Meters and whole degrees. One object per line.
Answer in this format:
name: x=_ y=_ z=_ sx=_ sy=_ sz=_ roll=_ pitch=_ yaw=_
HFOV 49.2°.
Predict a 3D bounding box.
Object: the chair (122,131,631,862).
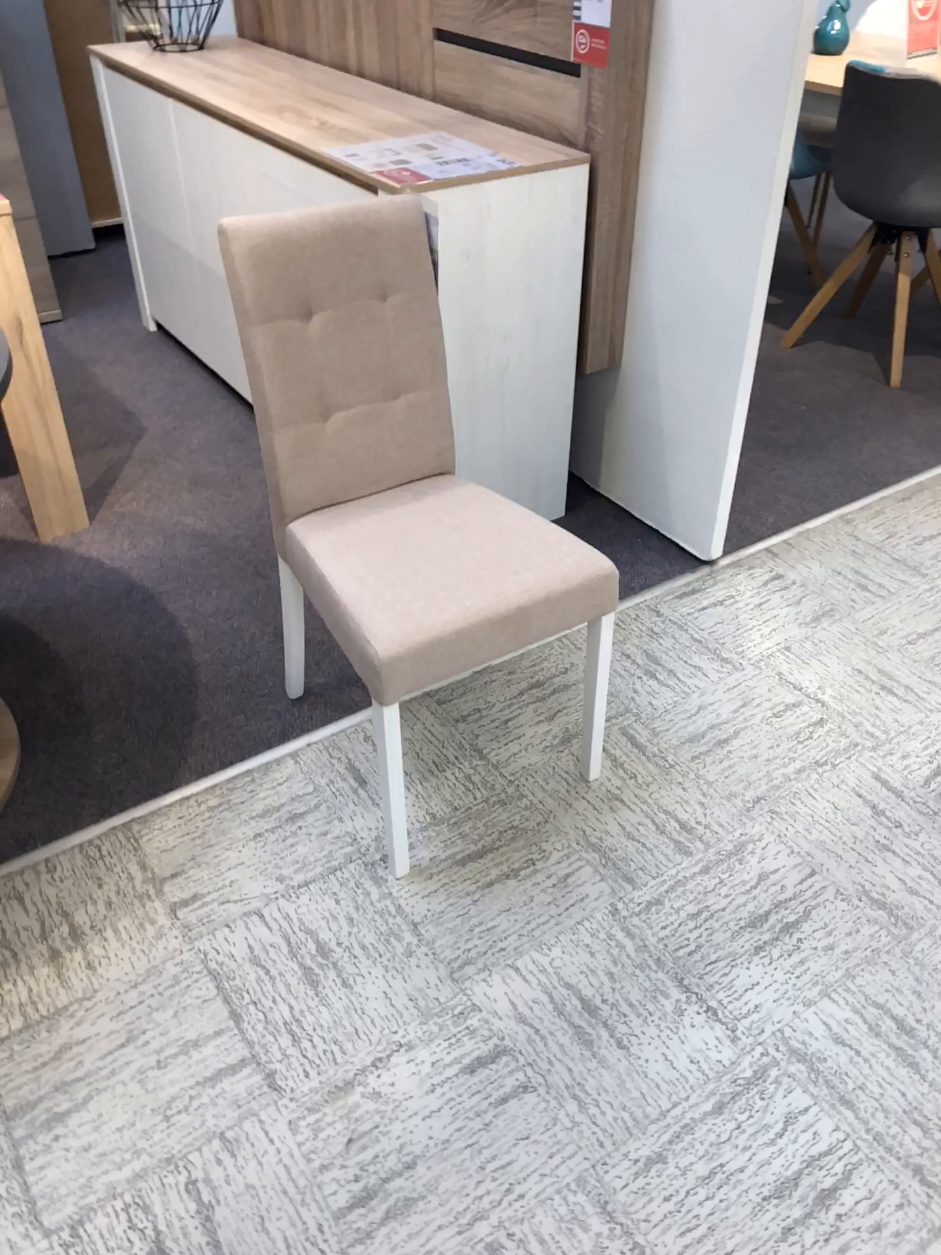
chair: x=-0.137 y=-0.203 z=1.533 sx=0.432 sy=0.855 sz=0.531 roll=-21 pitch=42 yaw=-26
